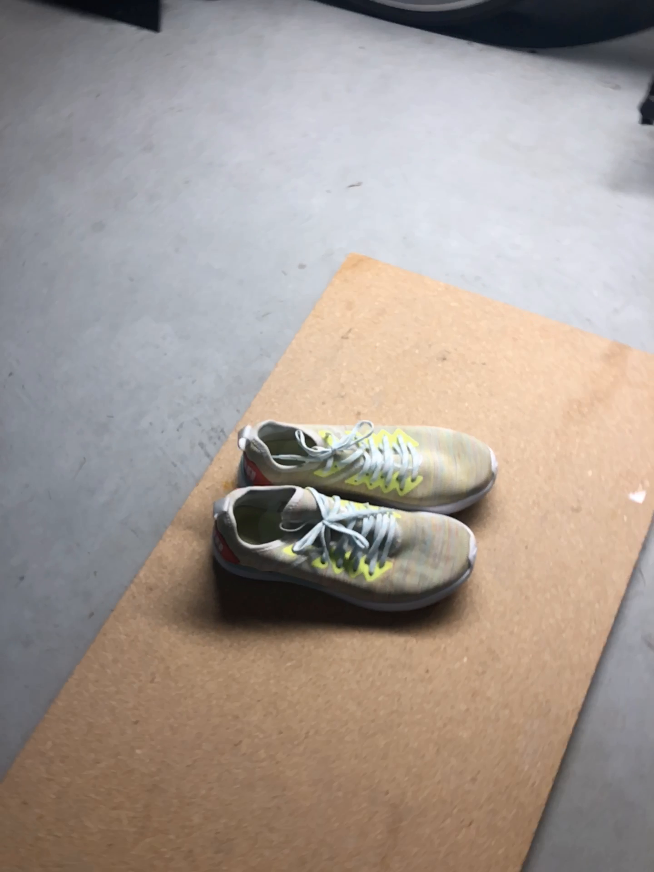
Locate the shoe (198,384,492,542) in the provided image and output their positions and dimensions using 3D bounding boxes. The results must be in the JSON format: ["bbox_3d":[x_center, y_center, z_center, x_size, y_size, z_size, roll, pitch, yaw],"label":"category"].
[{"bbox_3d":[0.022,0.031,0.805,0.300,0.100,0.110,6,56,2],"label":"shoe"}]

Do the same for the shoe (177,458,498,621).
[{"bbox_3d":[0.013,0.107,0.740,0.300,0.100,0.100,6,56,2],"label":"shoe"}]
